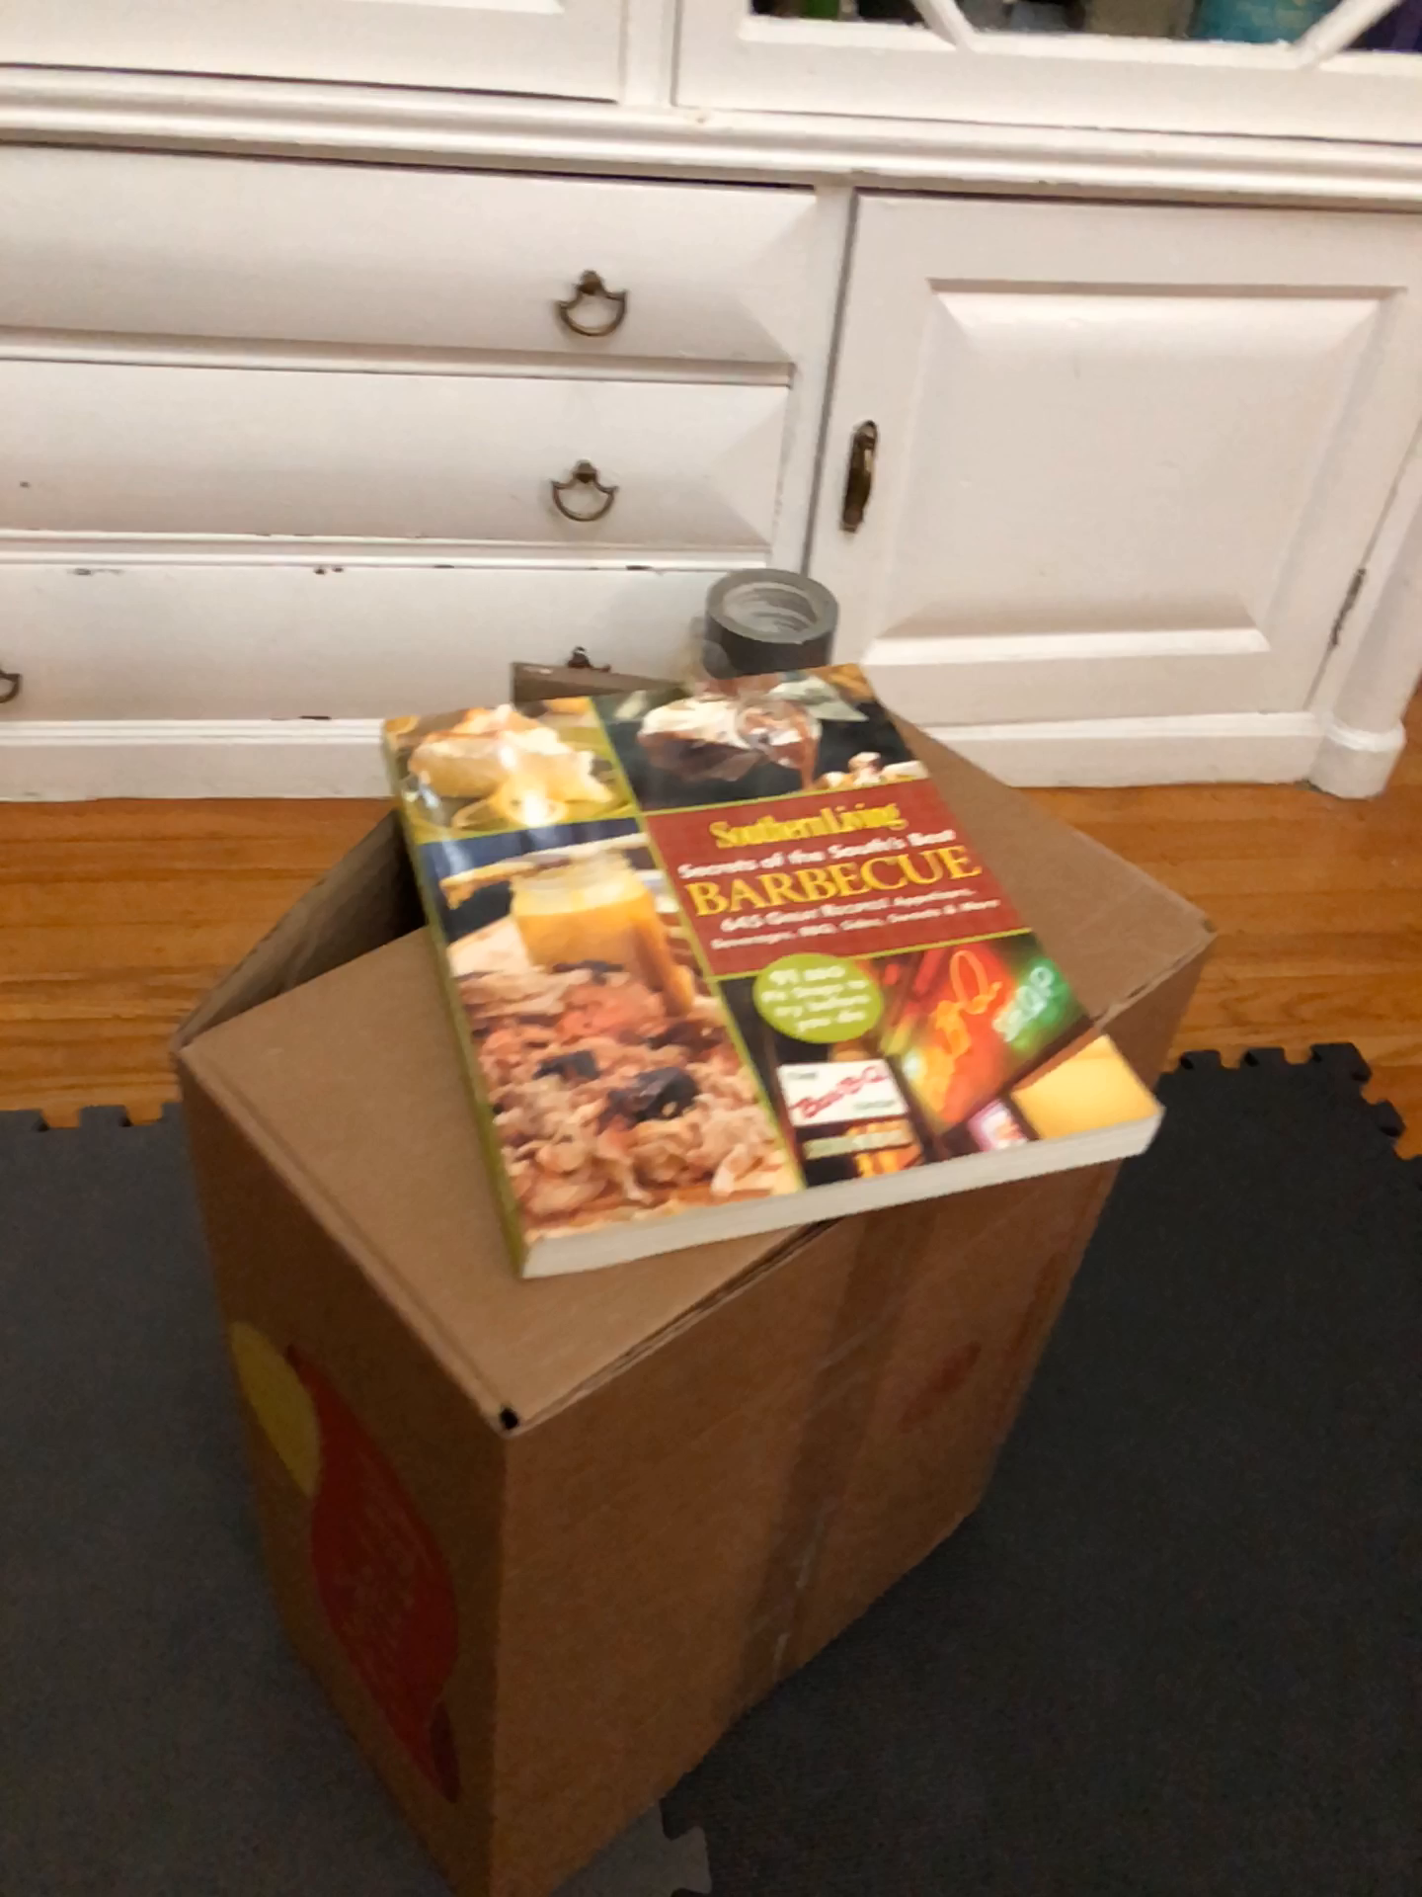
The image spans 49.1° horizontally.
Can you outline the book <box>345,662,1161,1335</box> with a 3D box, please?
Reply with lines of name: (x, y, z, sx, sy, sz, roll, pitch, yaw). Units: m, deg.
book: (-0.004, -0.008, 0.576, 0.220, 0.020, 0.291, -8, 45, -16)
